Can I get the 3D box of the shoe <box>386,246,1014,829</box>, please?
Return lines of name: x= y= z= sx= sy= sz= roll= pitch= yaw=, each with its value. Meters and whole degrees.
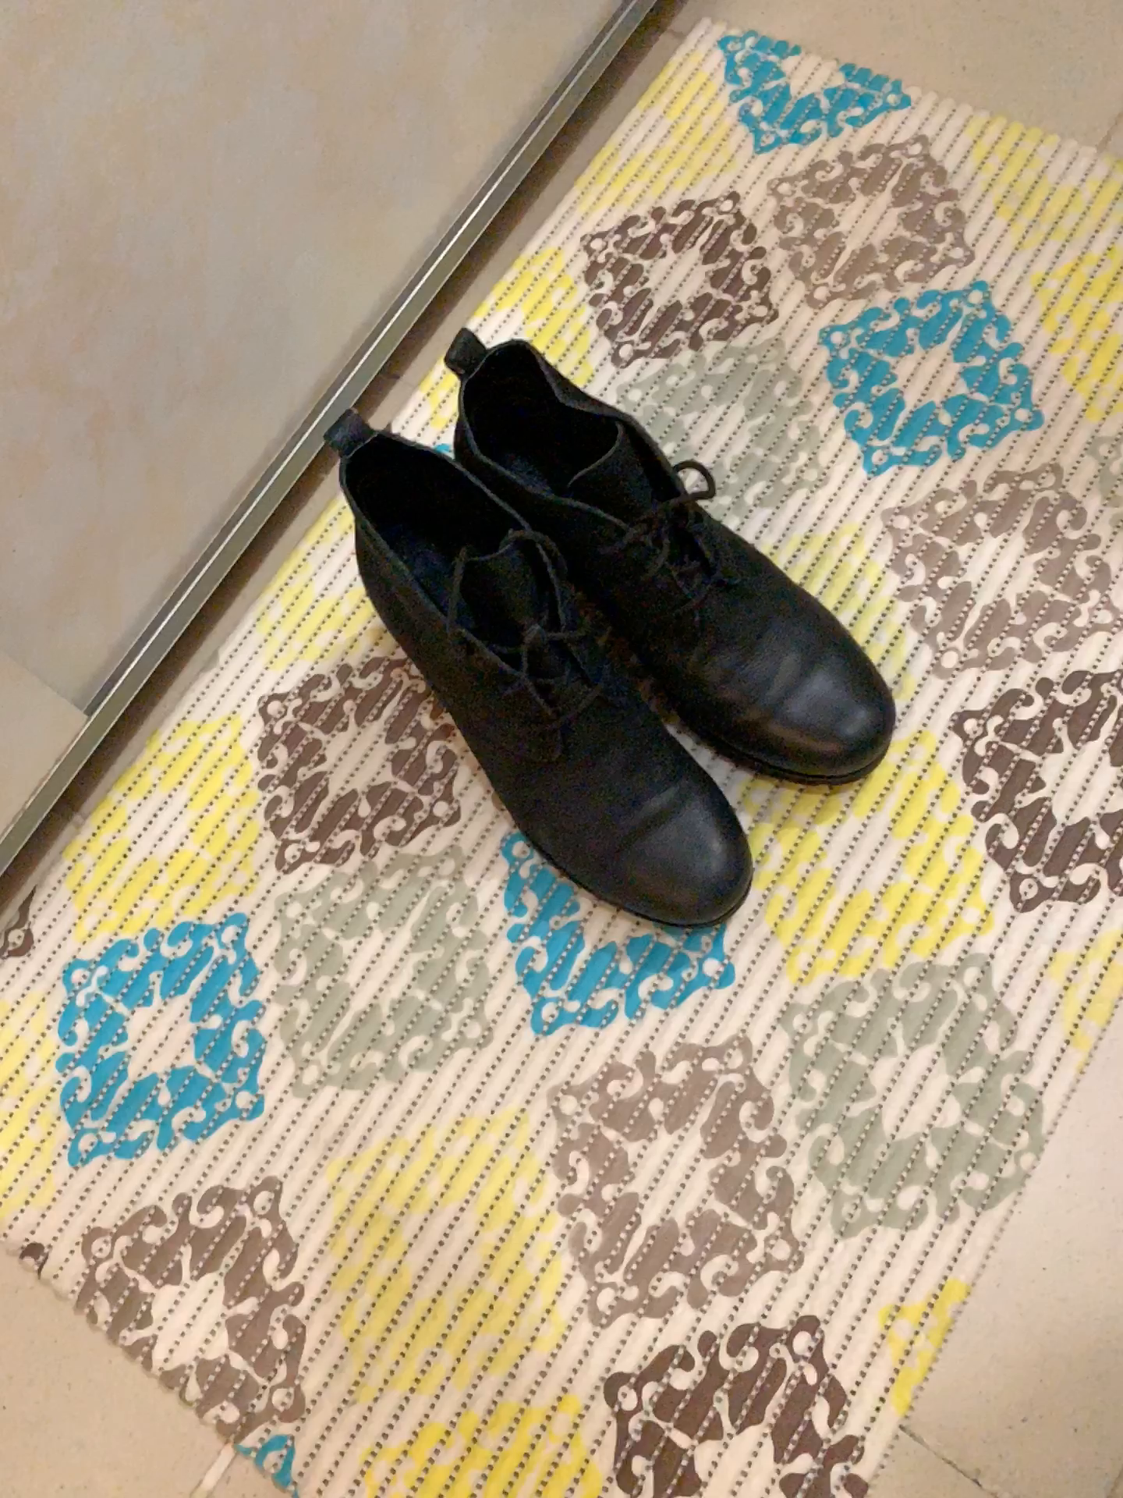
shoe: x=0.055 y=-0.087 z=0.509 sx=0.230 sy=0.150 sz=0.090 roll=36 pitch=79 yaw=18

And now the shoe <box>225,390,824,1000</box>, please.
shoe: x=-0.012 y=-0.017 z=0.496 sx=0.090 sy=0.150 sz=0.230 roll=-44 pitch=71 yaw=-9
